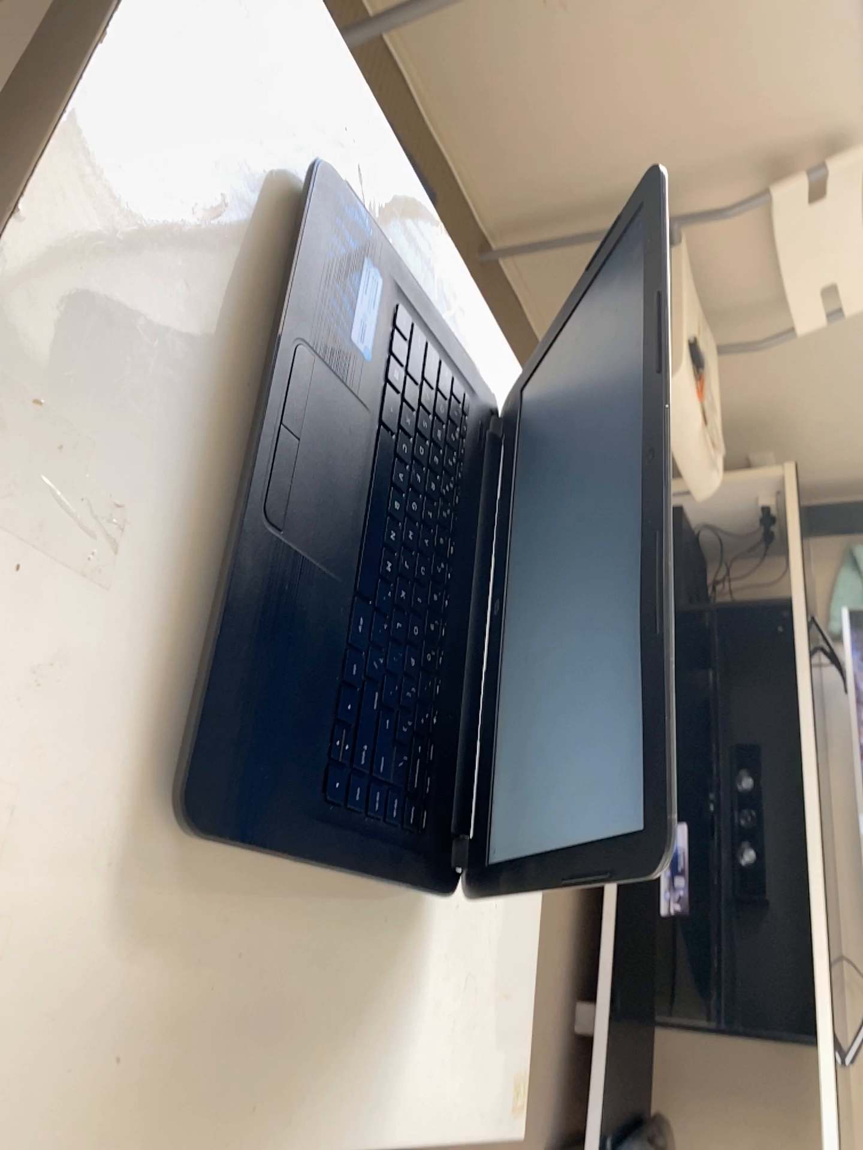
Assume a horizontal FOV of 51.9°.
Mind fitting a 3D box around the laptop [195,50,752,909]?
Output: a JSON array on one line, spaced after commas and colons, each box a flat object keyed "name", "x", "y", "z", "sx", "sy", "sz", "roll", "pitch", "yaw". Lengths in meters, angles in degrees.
[{"name": "laptop", "x": 0.051, "y": -0.026, "z": 0.441, "sx": 0.226, "sy": 0.154, "sz": 0.336, "roll": 42, "pitch": 47, "yaw": -54}]
